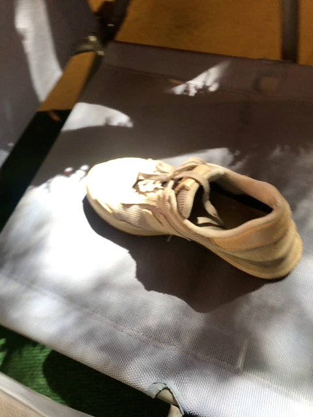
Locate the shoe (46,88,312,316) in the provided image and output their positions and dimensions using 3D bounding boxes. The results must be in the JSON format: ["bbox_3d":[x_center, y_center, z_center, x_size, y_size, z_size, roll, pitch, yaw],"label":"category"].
[{"bbox_3d":[0.039,-0.007,0.404,0.286,0.104,0.125,28,72,11],"label":"shoe"}]
